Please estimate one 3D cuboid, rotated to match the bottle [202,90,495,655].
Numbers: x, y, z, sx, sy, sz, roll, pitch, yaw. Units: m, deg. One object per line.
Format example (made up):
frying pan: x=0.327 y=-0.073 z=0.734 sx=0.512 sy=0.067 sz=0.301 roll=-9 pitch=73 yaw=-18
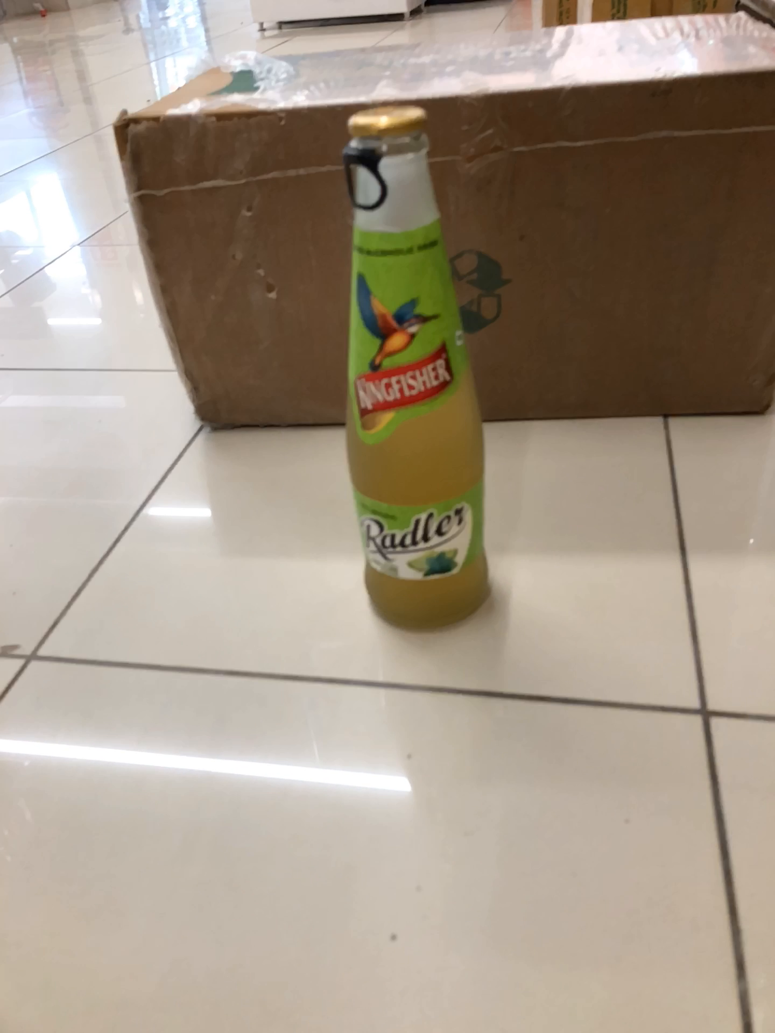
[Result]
bottle: x=-0.001 y=-0.048 z=0.332 sx=0.080 sy=0.199 sz=0.081 roll=-4 pitch=35 yaw=3
